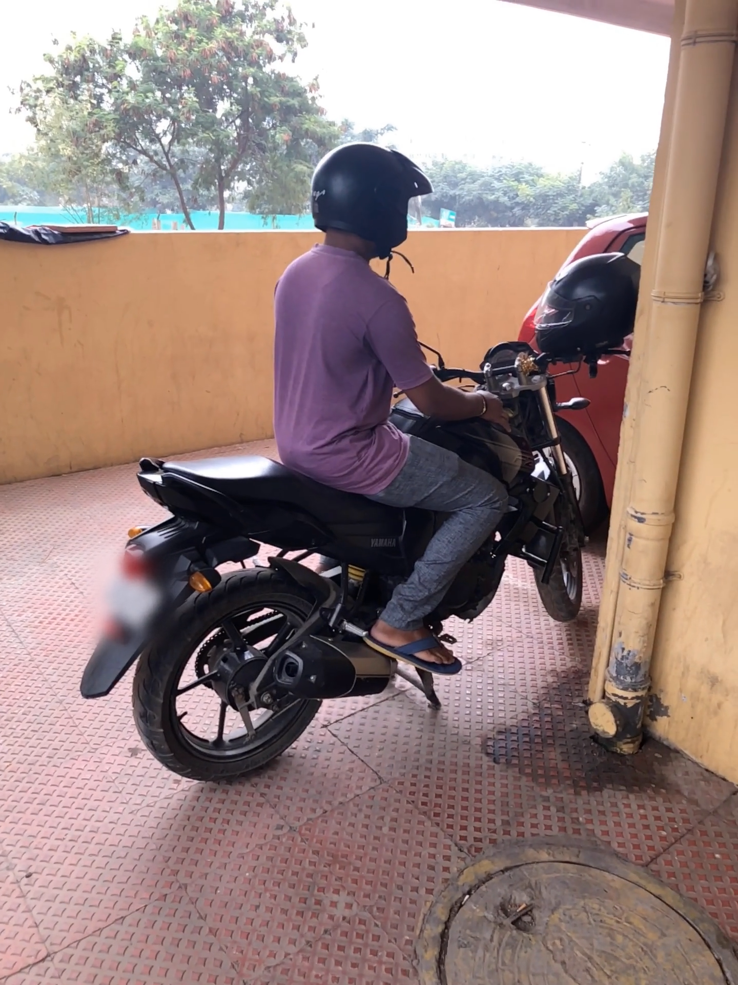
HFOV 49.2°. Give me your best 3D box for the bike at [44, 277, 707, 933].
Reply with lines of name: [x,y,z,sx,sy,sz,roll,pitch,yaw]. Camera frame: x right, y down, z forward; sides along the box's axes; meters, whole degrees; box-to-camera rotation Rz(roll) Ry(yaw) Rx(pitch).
bike: [0.152,0.044,2.491,0.854,1.156,1.910,19,28,41]
